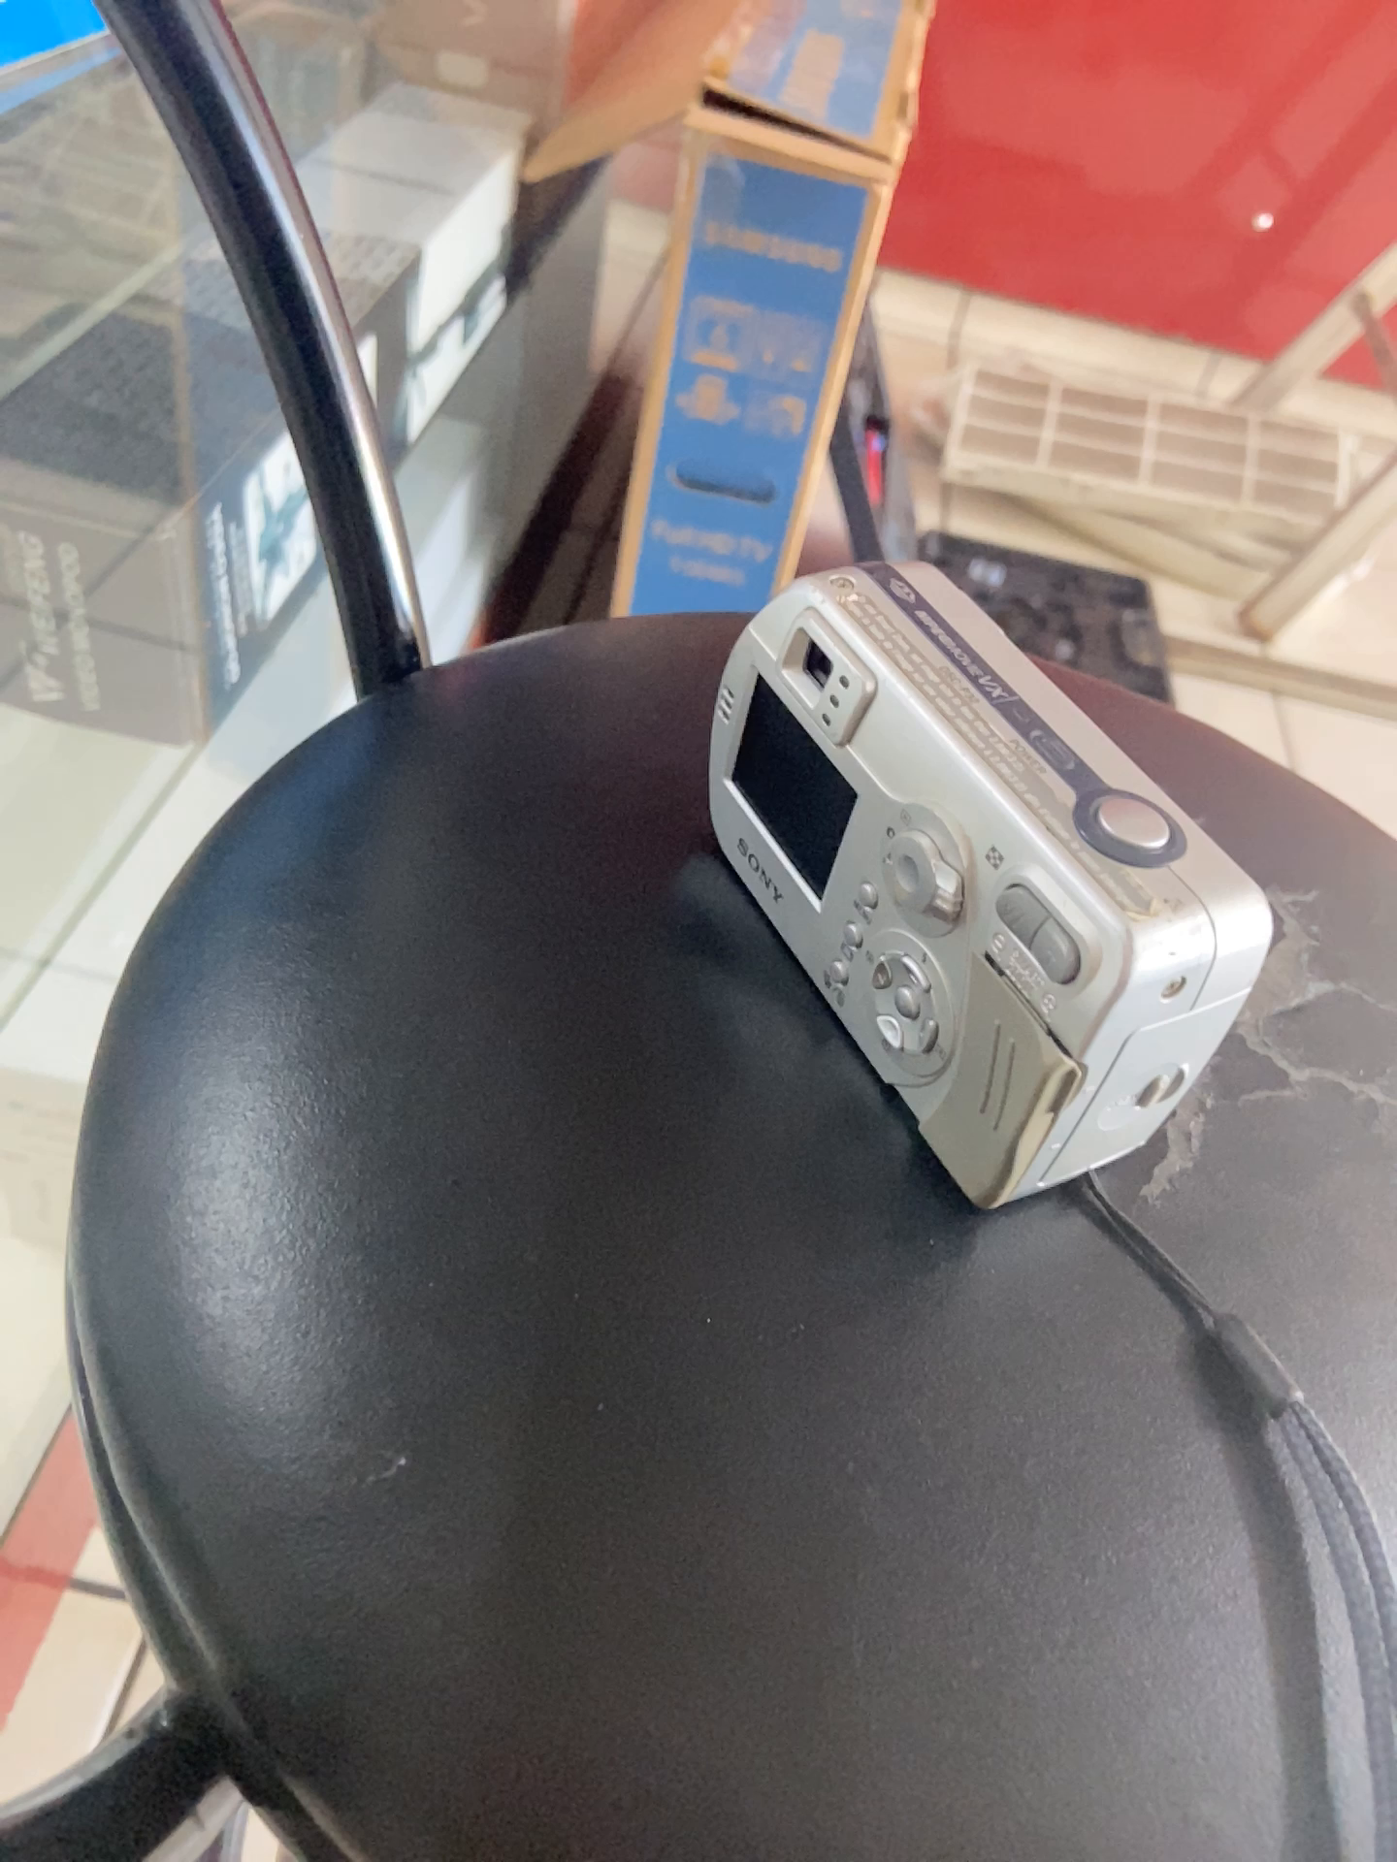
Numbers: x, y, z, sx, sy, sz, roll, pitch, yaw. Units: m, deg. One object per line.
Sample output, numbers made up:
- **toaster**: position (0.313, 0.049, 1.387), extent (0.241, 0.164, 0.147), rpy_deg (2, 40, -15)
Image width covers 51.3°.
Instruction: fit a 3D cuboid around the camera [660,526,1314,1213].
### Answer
- **camera**: position (0.038, -0.015, 0.232), extent (0.040, 0.050, 0.100), rpy_deg (-13, 50, -26)
